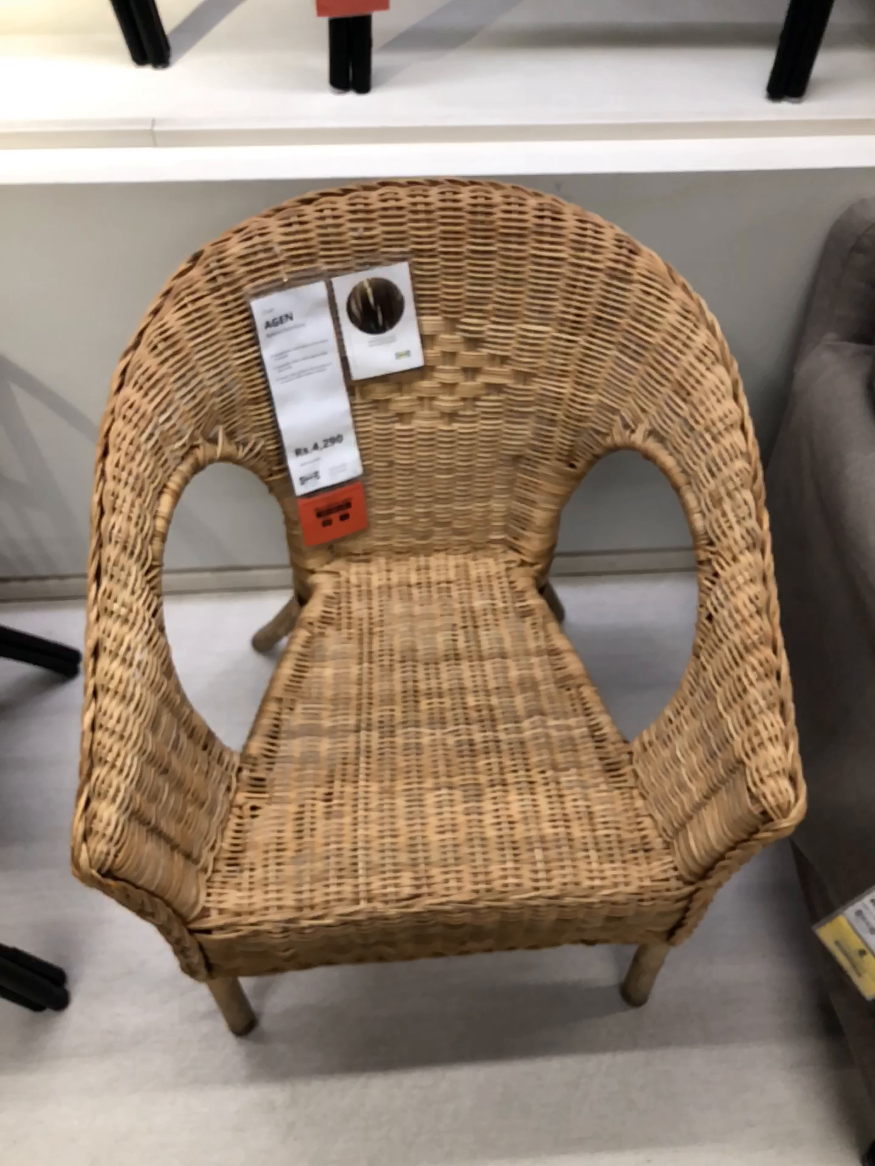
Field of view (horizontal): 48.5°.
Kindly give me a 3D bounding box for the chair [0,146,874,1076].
[{"bbox_3d":[0.004,0.080,0.944,0.550,0.697,0.603,-3,57,-3],"label":"chair"}]
